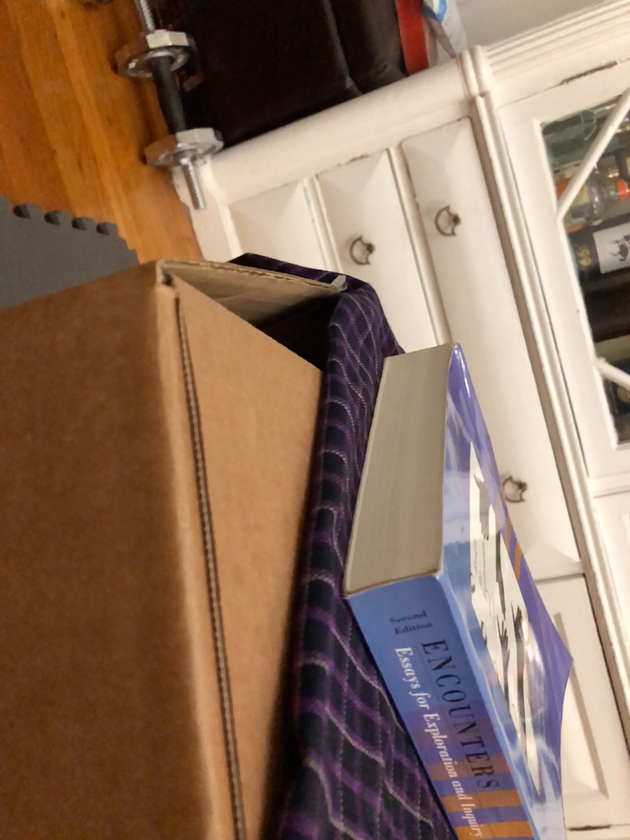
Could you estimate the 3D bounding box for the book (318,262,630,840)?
[{"bbox_3d":[0.083,0.091,0.311,0.201,0.040,0.260,-76,146,-54],"label":"book"}]
